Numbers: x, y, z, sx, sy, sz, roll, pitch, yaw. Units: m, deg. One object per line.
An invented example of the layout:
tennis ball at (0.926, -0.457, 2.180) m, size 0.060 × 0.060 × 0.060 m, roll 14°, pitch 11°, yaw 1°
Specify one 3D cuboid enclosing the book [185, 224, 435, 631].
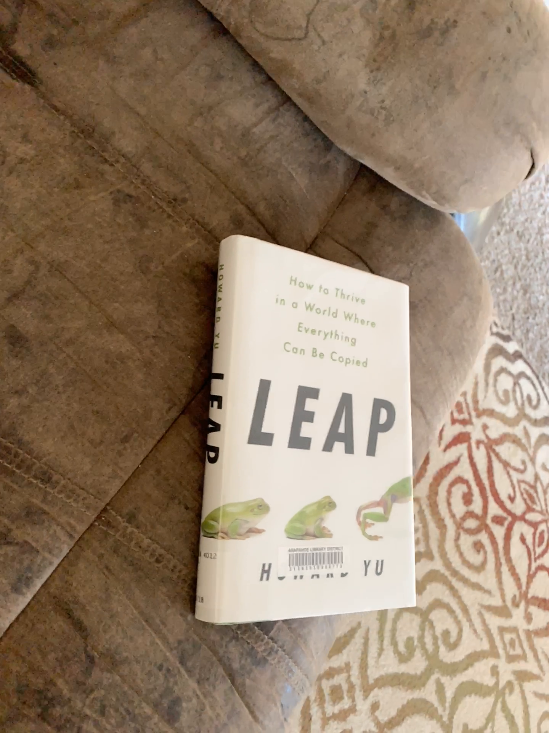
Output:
book at (0.028, 0.039, 0.382) m, size 0.161 × 0.040 × 0.235 m, roll 8°, pitch 74°, yaw -29°
